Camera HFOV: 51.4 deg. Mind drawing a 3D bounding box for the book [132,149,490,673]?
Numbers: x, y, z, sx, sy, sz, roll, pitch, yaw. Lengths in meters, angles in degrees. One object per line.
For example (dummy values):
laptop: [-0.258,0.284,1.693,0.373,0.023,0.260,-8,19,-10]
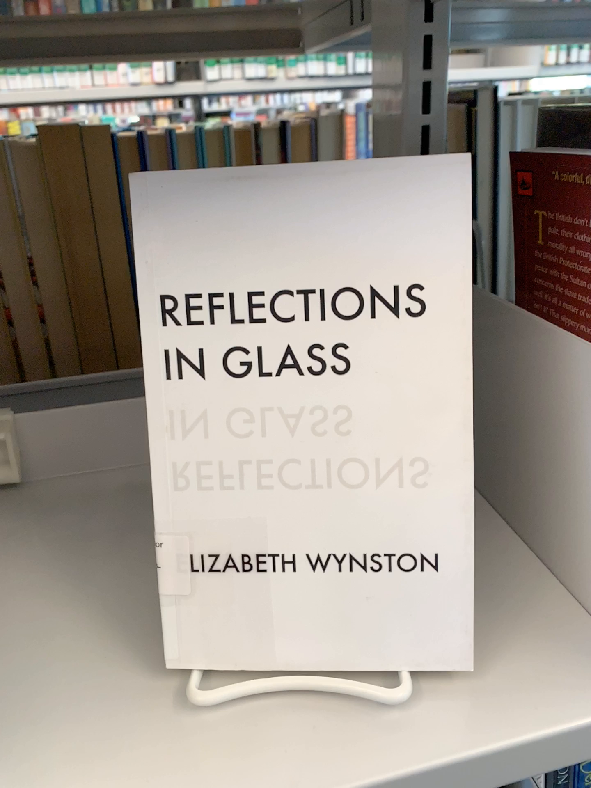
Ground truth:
book: [0.008,0.012,0.241,0.127,0.196,0.018,-1,8,4]
